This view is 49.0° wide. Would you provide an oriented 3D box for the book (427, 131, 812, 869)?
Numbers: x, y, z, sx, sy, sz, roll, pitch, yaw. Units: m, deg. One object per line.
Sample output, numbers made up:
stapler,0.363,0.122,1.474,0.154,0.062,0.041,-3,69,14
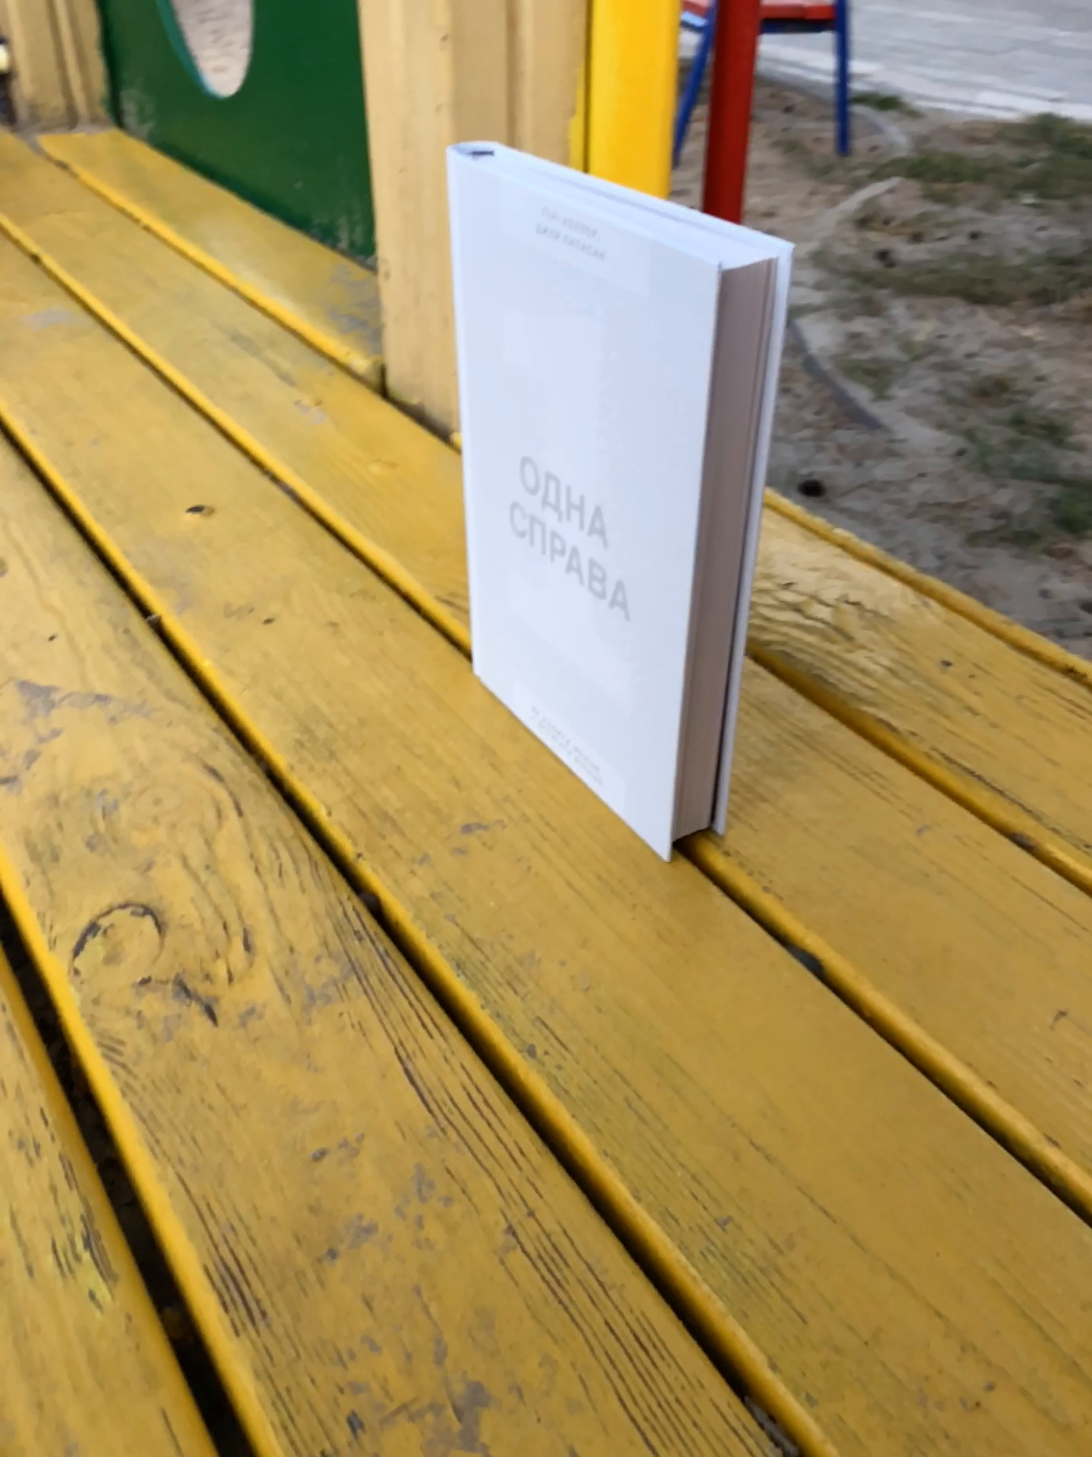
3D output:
book,0.015,-0.078,0.417,0.030,0.208,0.155,-22,42,-25
